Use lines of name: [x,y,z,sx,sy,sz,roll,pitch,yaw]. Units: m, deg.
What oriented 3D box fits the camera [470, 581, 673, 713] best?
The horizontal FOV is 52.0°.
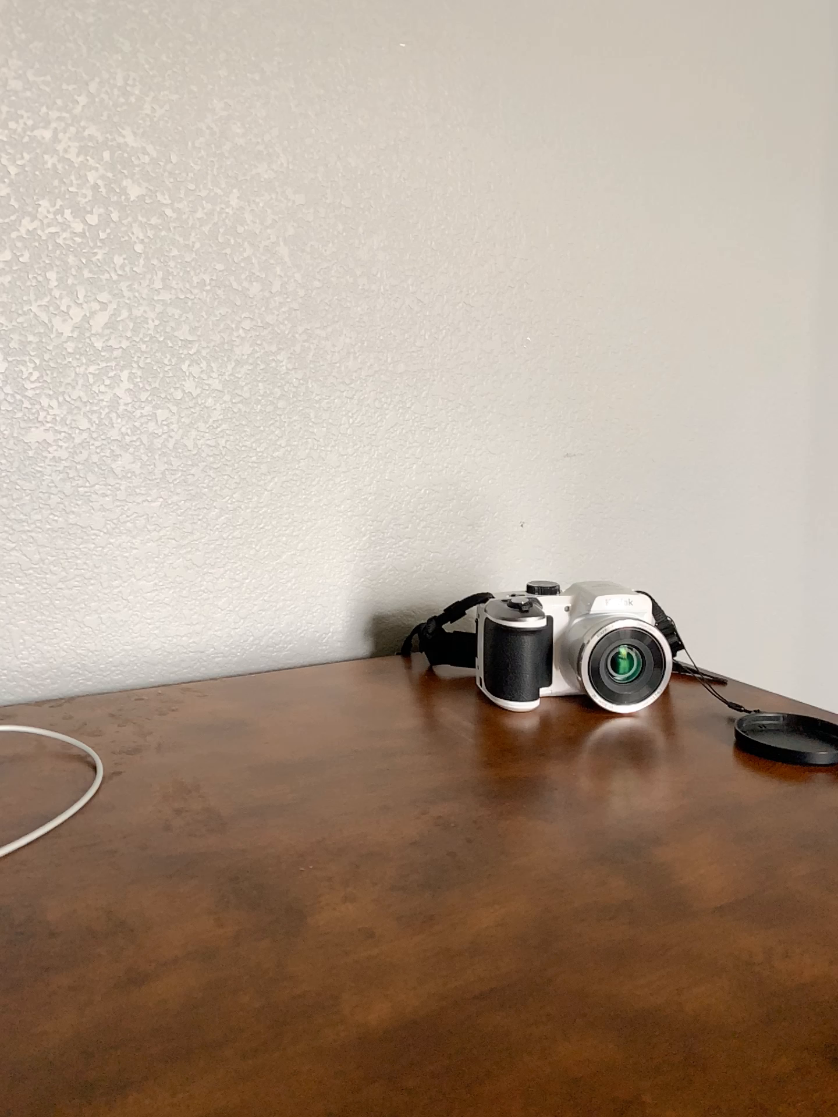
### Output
camera: [0.096,0.056,0.568,0.119,0.071,0.070,0,7,-2]
